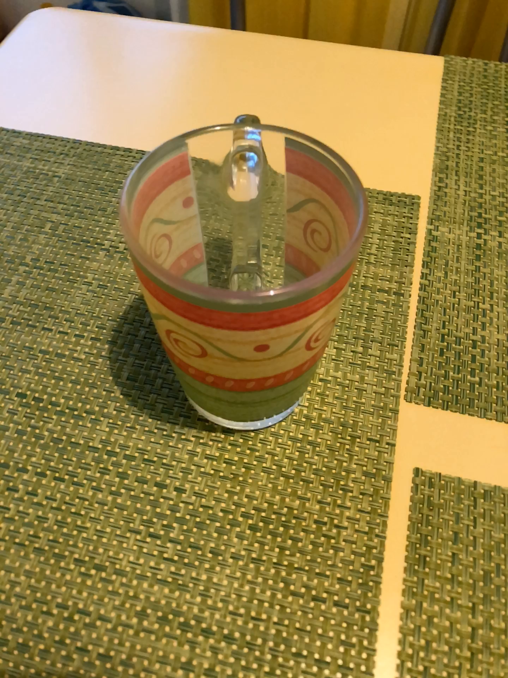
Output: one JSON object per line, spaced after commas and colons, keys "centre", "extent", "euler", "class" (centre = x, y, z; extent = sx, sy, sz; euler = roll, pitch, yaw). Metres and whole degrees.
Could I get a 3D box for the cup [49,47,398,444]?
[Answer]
{"centre": [-0.007, -0.035, 0.215], "extent": [0.090, 0.090, 0.121], "euler": [1, 56, 0], "class": "cup"}
